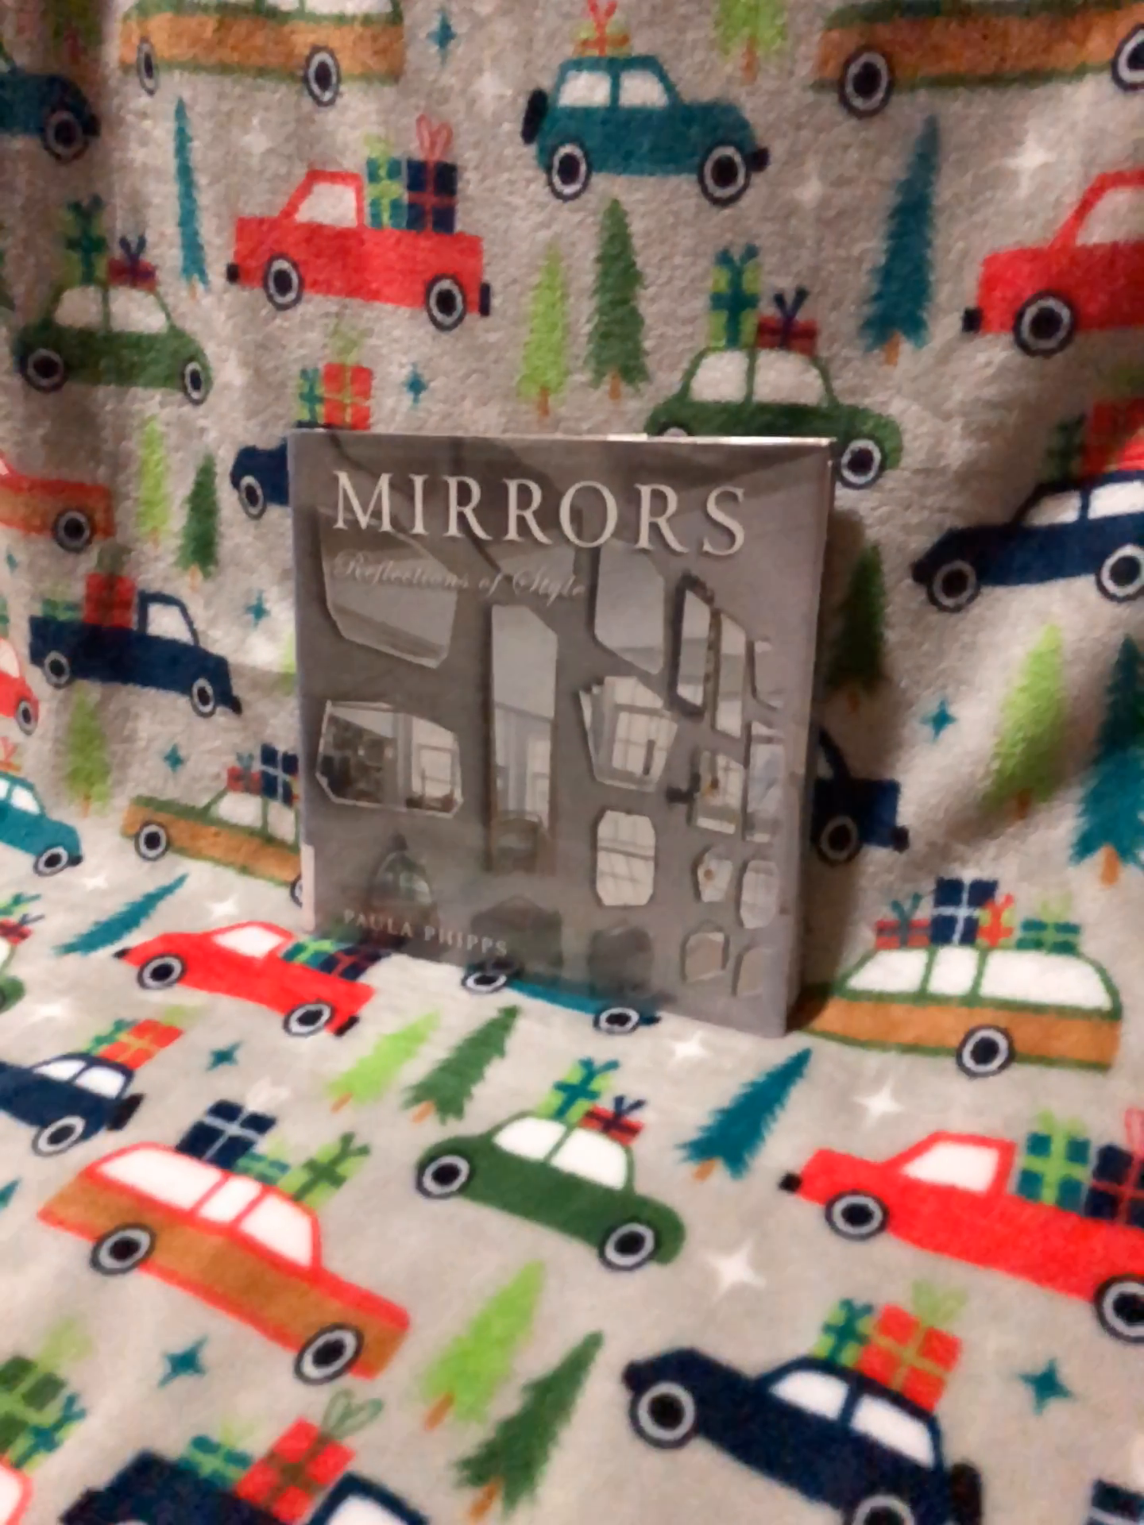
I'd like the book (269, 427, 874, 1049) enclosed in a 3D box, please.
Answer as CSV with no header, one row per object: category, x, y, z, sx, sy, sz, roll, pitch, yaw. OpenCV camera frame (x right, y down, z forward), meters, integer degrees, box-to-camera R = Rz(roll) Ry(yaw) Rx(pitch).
book,-0.009,-0.017,0.474,0.223,0.208,0.030,8,17,23
